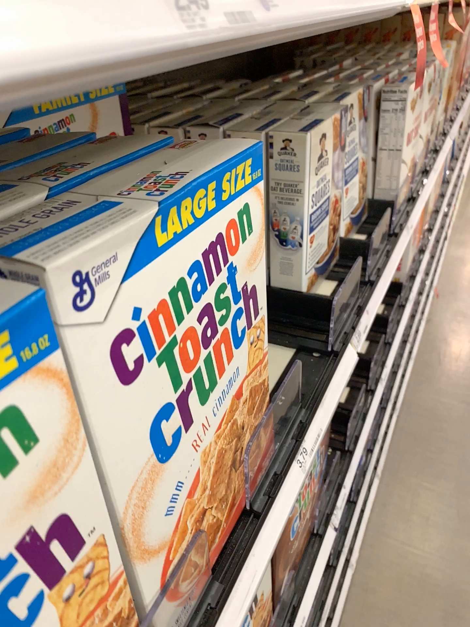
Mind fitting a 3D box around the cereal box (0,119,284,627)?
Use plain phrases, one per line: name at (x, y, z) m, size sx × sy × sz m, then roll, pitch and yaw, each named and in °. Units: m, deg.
cereal box at (-0.037, 0.046, 0.318) m, size 0.070 × 0.288 × 0.191 m, roll 12°, pitch 36°, yaw 24°
